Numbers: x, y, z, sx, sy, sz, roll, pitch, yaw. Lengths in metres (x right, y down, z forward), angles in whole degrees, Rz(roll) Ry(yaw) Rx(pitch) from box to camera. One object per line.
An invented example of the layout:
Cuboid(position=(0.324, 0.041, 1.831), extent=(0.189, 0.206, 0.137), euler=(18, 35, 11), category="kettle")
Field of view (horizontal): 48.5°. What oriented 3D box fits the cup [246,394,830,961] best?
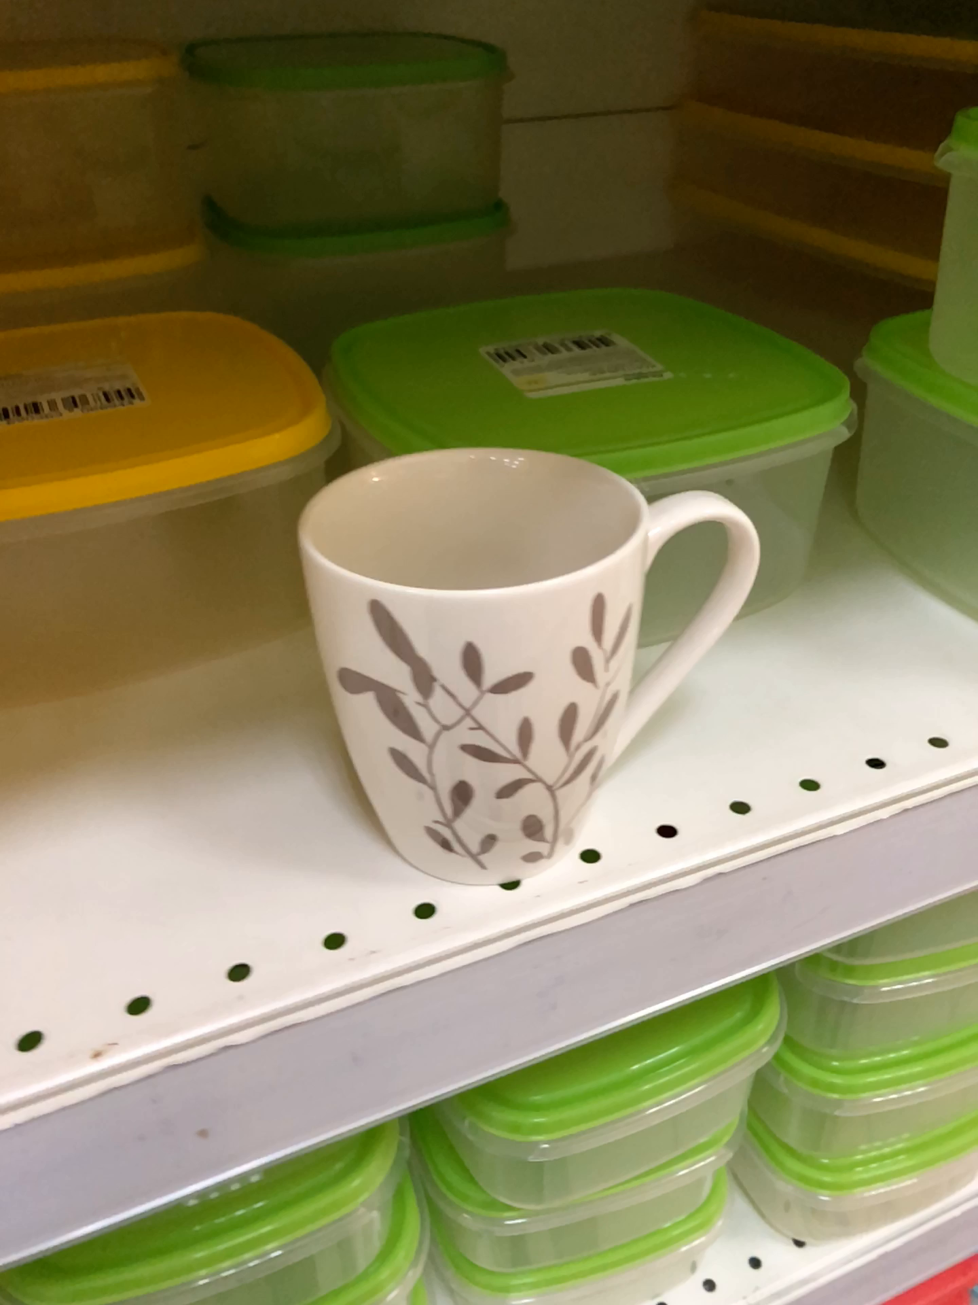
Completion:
Cuboid(position=(0.011, 0.000, 0.301), extent=(0.121, 0.097, 0.086), euler=(-17, 37, -22), category="cup")
